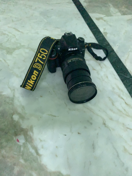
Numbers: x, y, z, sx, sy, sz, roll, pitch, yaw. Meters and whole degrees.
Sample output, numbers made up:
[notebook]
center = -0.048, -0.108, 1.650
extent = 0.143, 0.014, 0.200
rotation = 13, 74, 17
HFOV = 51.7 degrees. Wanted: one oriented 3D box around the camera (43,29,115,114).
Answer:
[camera]
center = 0.017, -0.061, 0.399
extent = 0.139, 0.100, 0.233
rotation = -8, 50, -7
